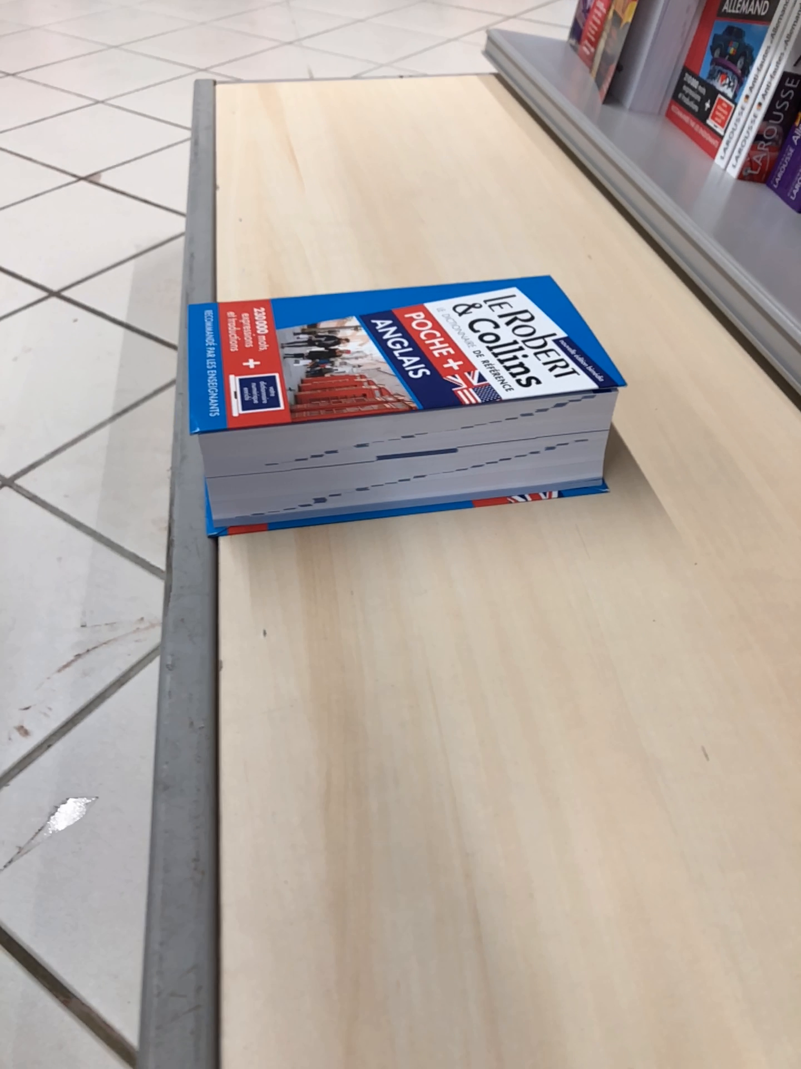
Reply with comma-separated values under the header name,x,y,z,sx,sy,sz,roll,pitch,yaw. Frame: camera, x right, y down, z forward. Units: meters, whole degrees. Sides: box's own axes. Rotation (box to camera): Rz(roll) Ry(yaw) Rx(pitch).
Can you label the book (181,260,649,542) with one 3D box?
name,x,y,z,sx,sy,sz,roll,pitch,yaw
book,-0.002,-0.068,0.405,0.183,0.051,0.129,-7,41,-7
